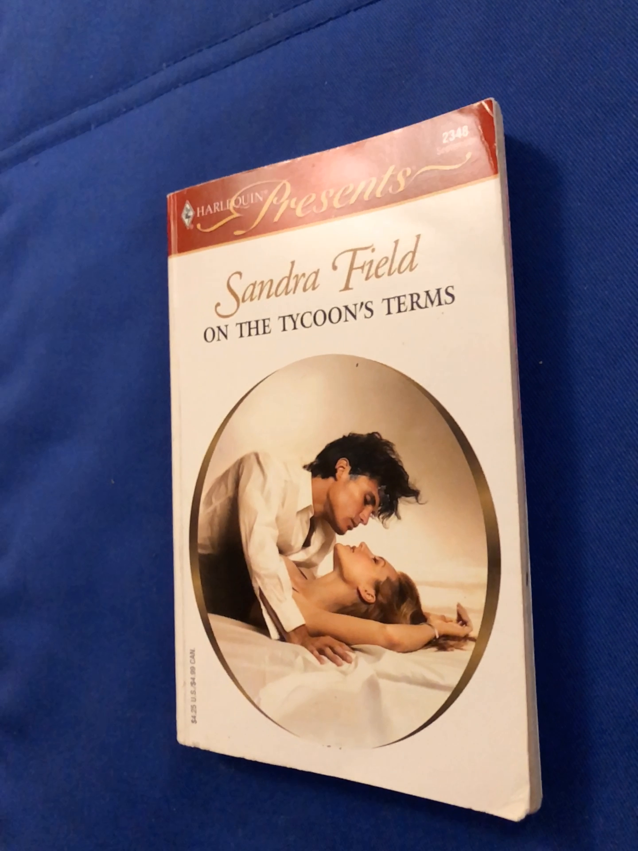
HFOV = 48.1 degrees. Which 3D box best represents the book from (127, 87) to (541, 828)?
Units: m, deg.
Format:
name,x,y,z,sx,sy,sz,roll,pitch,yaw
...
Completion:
name,x,y,z,sx,sy,sz,roll,pitch,yaw
book,-0.003,0.008,0.188,0.108,0.020,0.157,-4,86,31
